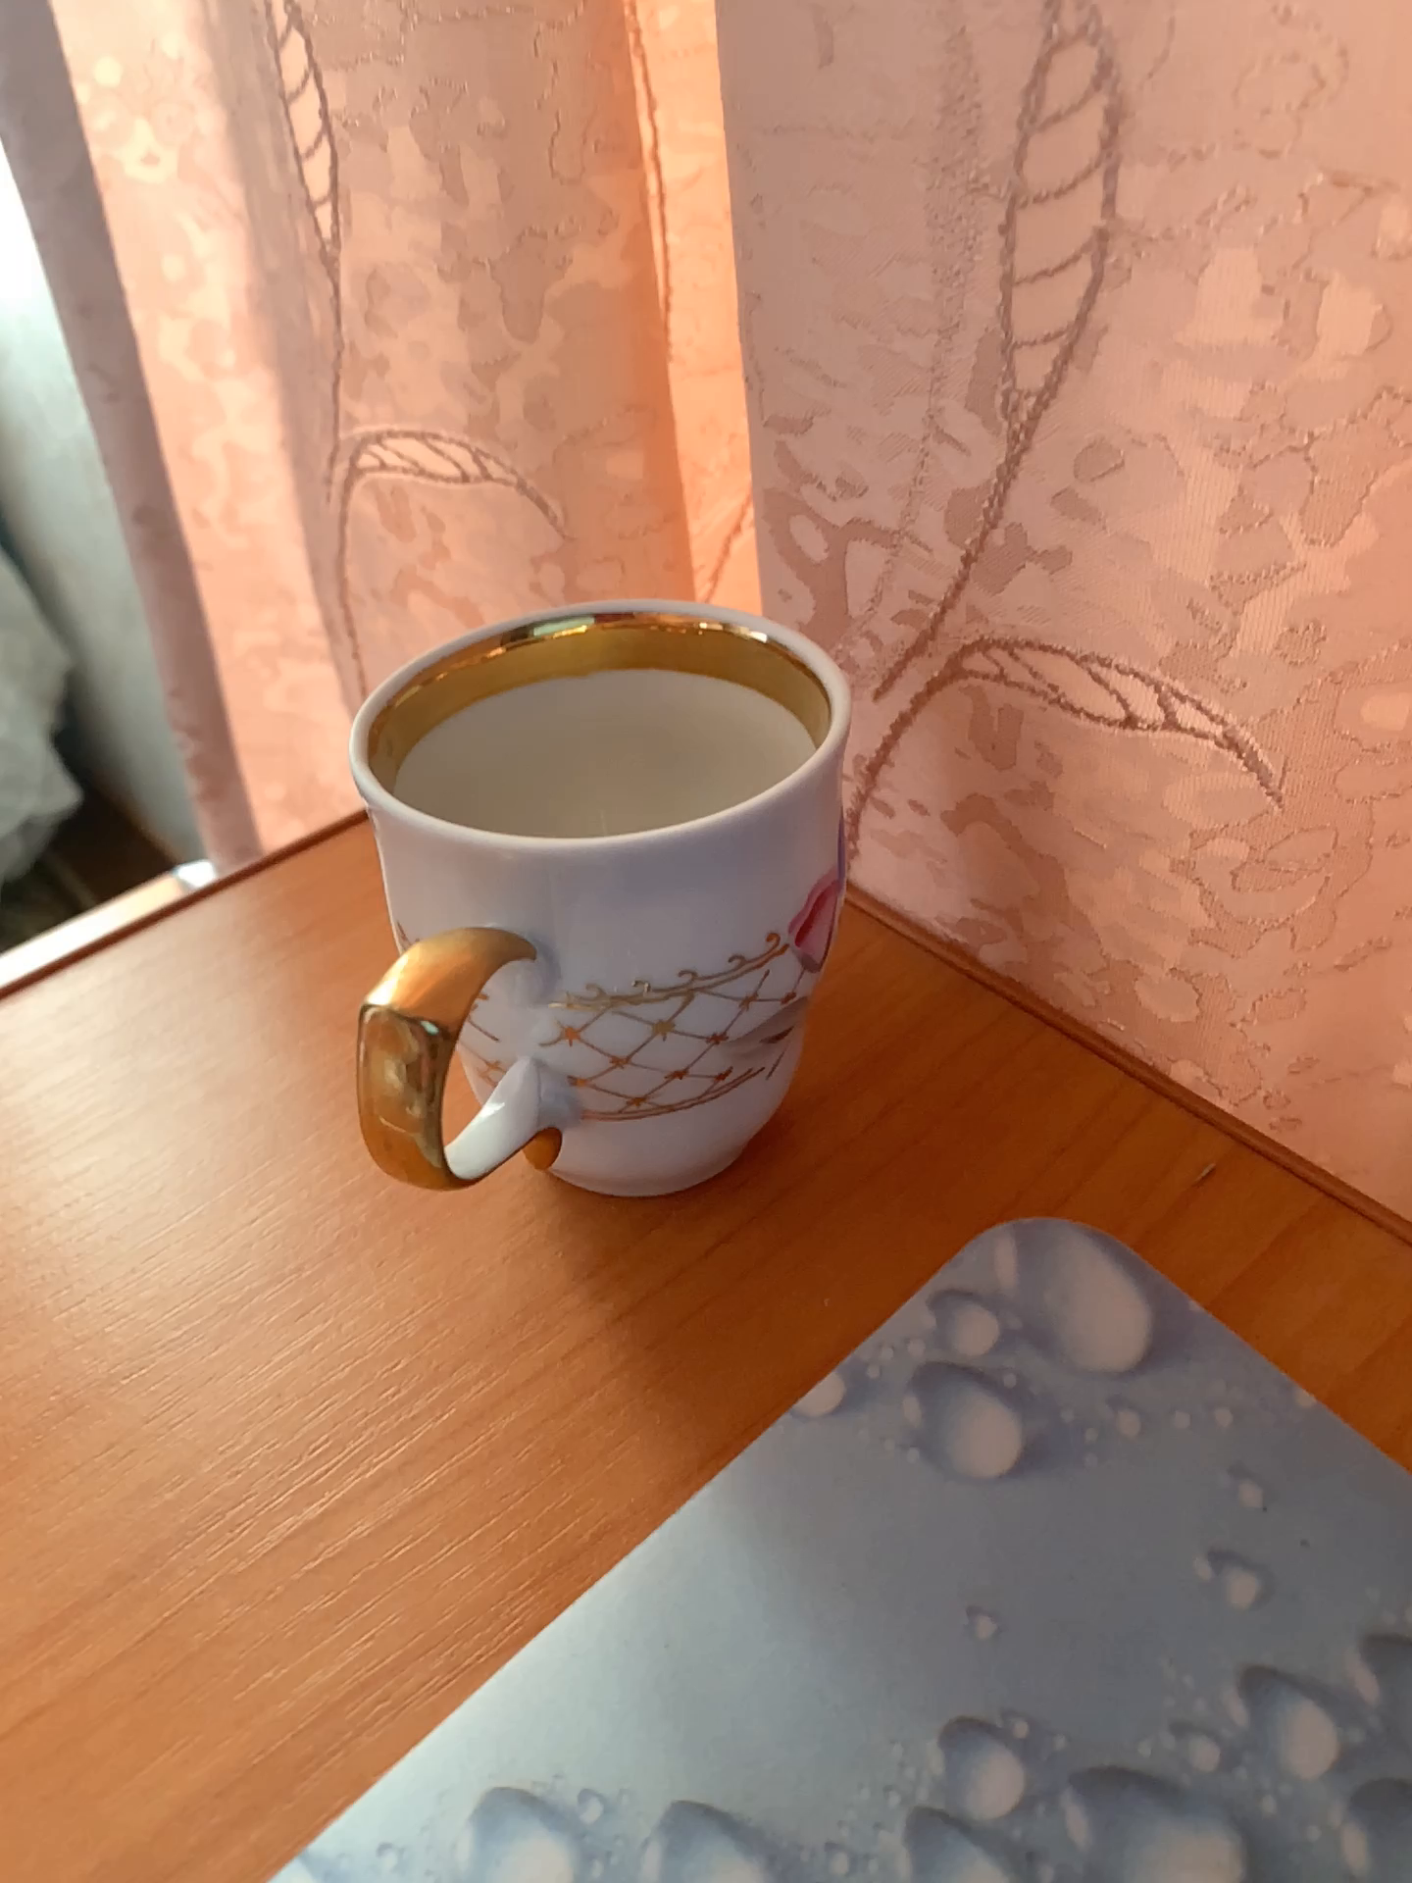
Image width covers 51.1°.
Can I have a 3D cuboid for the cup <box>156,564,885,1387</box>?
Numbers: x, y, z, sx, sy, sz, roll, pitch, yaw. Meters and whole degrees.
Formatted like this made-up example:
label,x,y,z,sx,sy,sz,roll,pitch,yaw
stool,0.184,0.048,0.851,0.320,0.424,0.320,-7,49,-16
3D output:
label,x,y,z,sx,sy,sz,roll,pitch,yaw
cup,-0.013,-0.001,0.182,0.059,0.055,0.083,6,40,11
